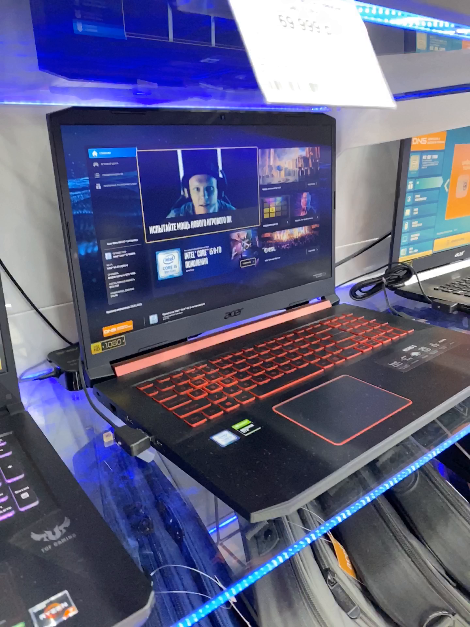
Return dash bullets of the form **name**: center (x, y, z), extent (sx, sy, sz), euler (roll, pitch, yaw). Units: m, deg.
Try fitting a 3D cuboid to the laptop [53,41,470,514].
- **laptop**: center (0.079, -0.073, 0.497), extent (0.406, 0.268, 0.284), euler (-15, 21, -36)
